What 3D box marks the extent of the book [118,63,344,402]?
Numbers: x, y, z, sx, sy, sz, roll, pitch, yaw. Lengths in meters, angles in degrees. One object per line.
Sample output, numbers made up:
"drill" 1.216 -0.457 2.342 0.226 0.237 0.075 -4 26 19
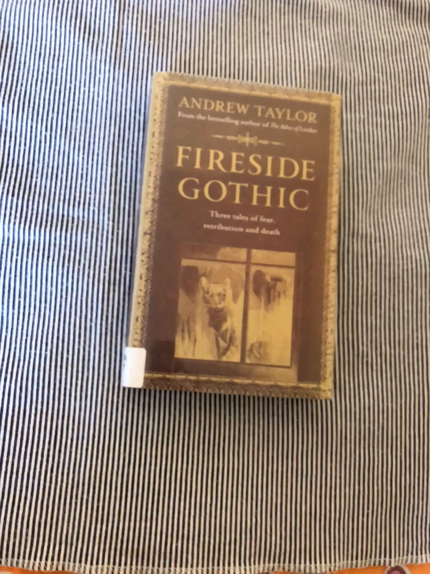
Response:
"book" 0.015 -0.037 0.329 0.139 0.027 0.217 5 81 -8
